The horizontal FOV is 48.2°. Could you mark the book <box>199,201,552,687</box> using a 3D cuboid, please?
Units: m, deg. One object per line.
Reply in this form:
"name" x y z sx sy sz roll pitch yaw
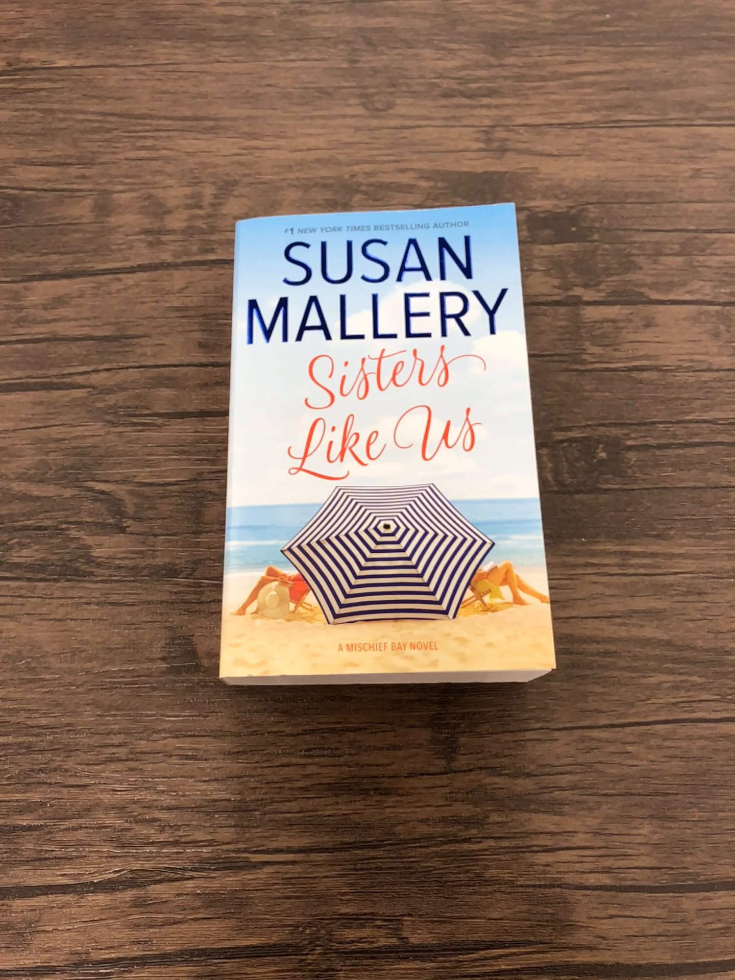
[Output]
"book" 0.002 -0.016 0.285 0.104 0.043 0.160 -2 74 3
